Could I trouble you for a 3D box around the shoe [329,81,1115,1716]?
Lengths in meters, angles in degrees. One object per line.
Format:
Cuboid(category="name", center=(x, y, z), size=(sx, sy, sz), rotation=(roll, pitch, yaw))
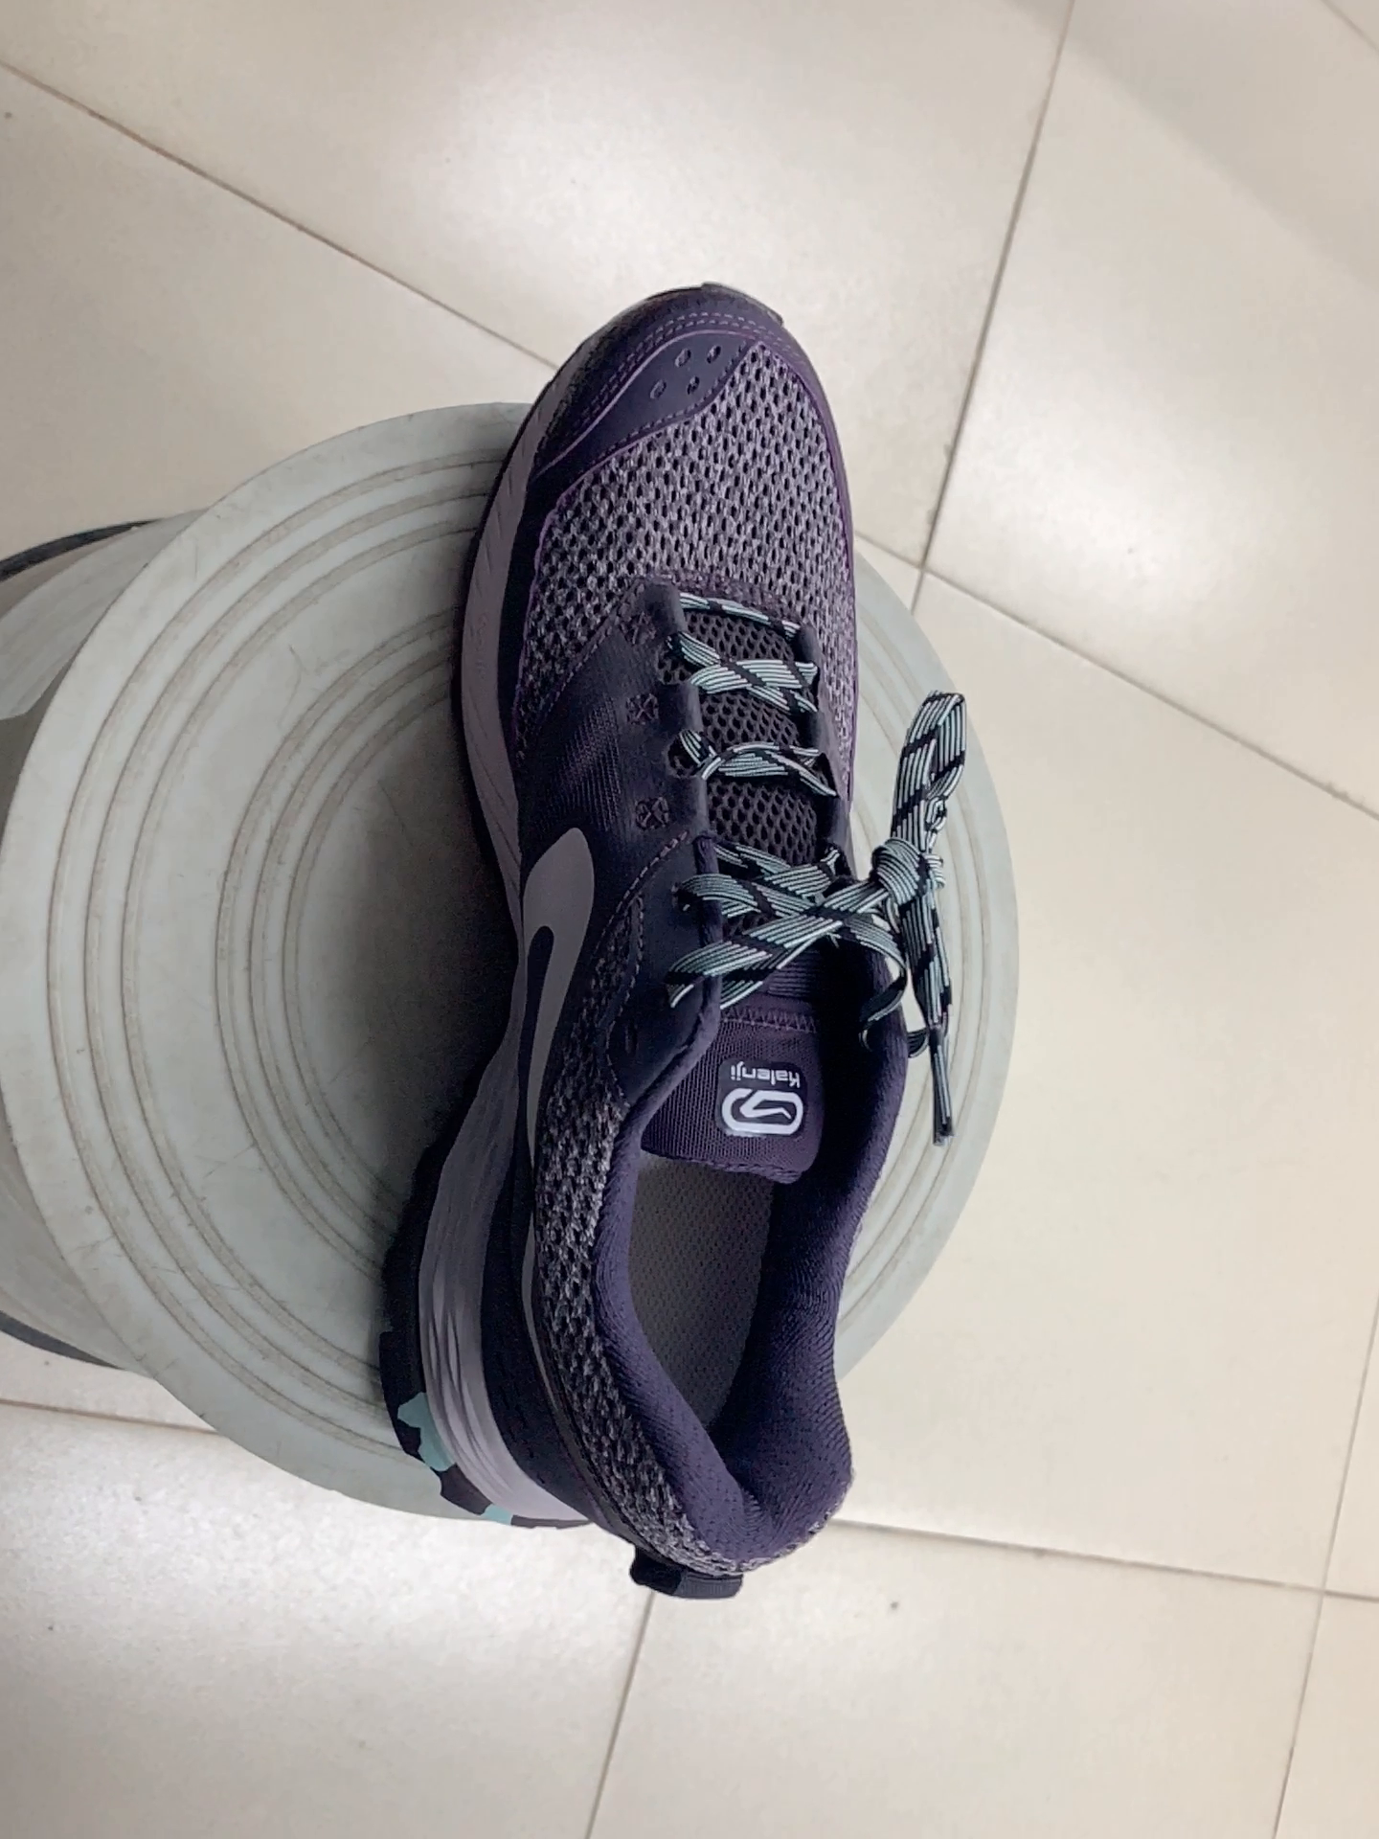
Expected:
Cuboid(category="shoe", center=(0.003, -0.002, 0.321), size=(0.100, 0.110, 0.290), rotation=(10, 85, -28))
